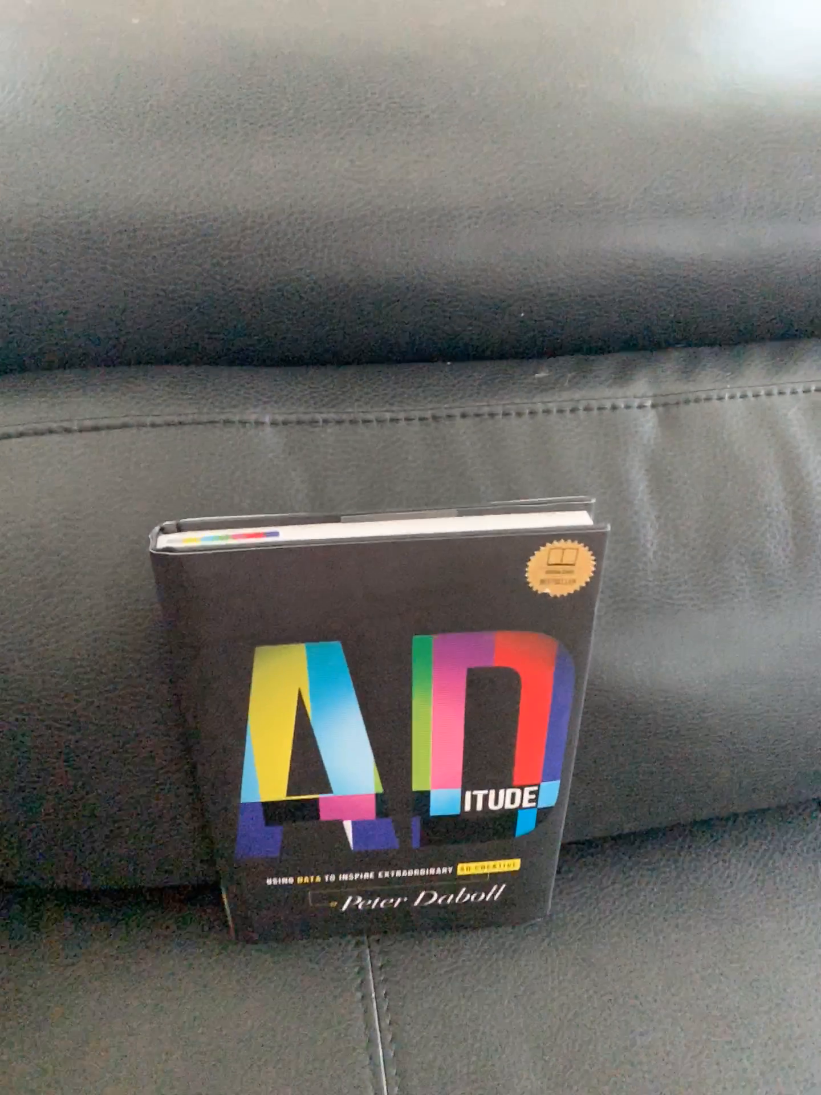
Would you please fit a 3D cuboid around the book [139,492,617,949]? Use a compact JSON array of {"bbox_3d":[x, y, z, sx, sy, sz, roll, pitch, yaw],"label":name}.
[{"bbox_3d":[-0.010,0.087,0.360,0.160,0.235,0.025,-3,34,-3],"label":"book"}]
